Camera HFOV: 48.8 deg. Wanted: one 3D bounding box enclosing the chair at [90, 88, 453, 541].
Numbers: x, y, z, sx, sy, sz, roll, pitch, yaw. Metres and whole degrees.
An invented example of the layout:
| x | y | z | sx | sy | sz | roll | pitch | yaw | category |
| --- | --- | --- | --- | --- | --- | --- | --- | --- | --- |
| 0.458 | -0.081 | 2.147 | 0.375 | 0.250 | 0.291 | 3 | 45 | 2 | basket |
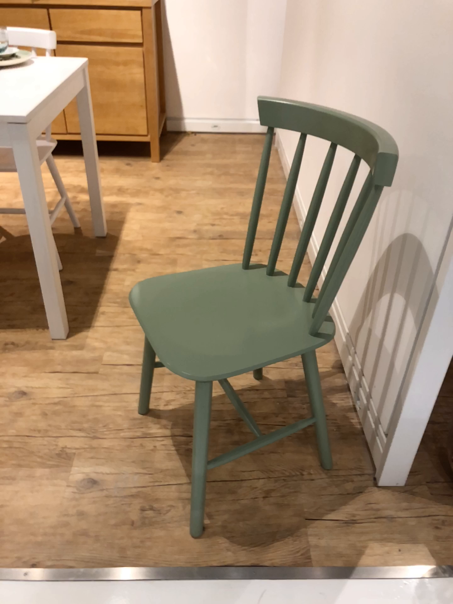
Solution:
| x | y | z | sx | sy | sz | roll | pitch | yaw | category |
| --- | --- | --- | --- | --- | --- | --- | --- | --- | --- |
| 0.051 | 0.011 | 1.142 | 0.521 | 0.813 | 0.473 | -13 | 37 | -21 | chair |
